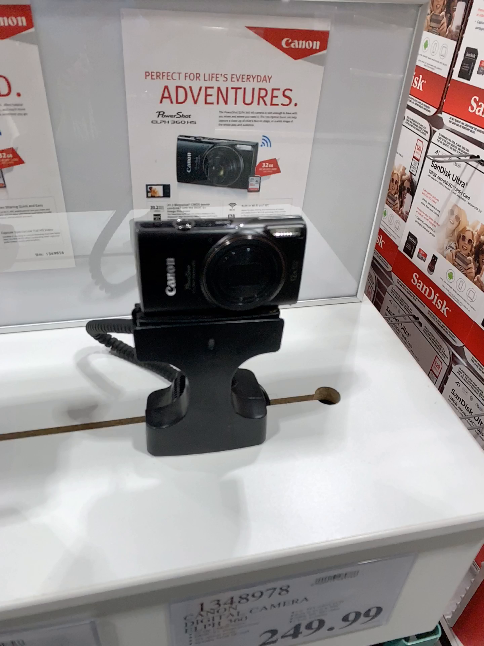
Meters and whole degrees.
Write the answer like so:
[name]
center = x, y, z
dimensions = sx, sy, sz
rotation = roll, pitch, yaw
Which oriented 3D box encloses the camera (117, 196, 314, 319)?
[camera]
center = -0.018, -0.042, 0.307
dimensions = 0.110, 0.060, 0.040
rotation = -4, 36, -9
